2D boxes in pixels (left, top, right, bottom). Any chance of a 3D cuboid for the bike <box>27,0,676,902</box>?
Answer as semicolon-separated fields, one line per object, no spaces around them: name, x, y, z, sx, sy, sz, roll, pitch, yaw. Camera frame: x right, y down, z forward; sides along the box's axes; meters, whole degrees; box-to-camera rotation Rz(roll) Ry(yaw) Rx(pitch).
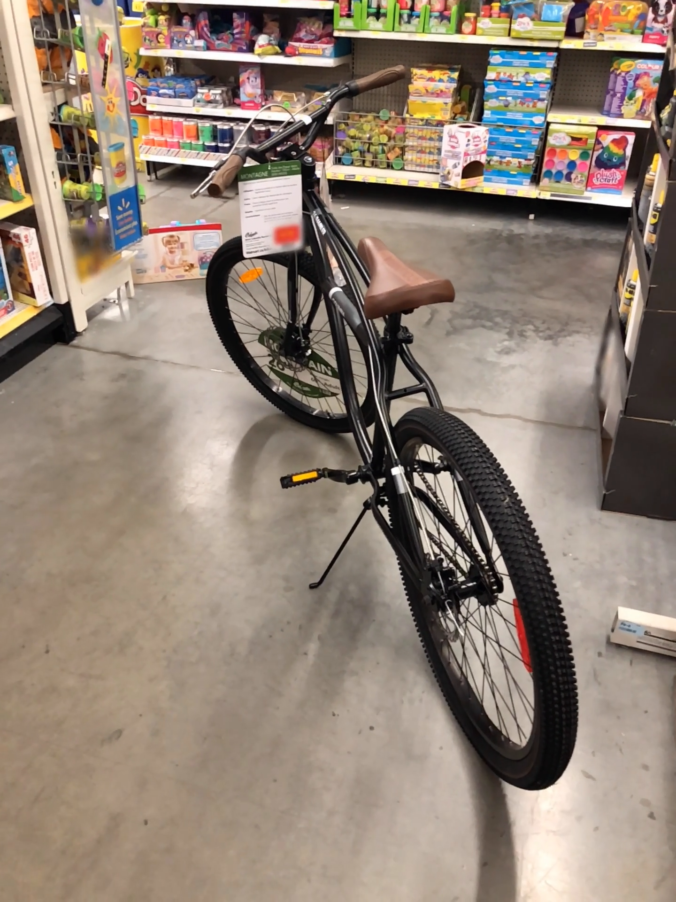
bike;-0.068;-0.234;1.461;0.652;0.975;1.592;-13;41;-20
